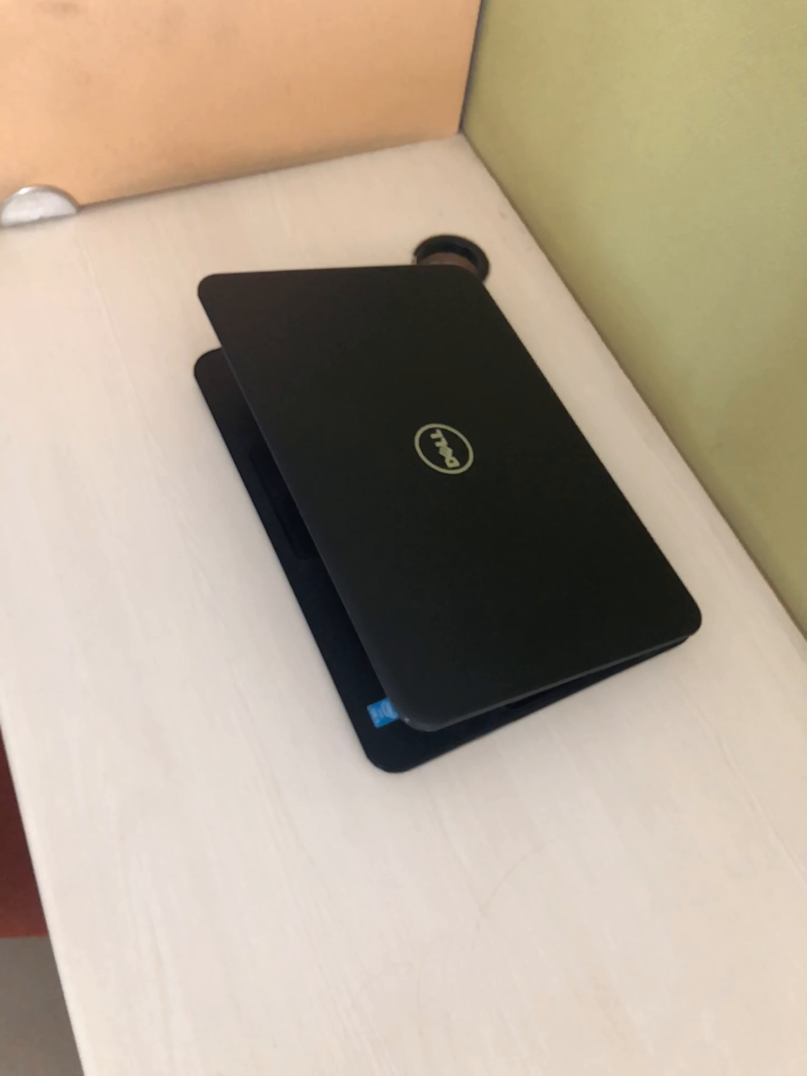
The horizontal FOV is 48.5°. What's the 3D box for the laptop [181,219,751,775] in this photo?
[{"bbox_3d":[0.026,-0.051,0.636,0.247,0.078,0.354,-20,65,-16],"label":"laptop"}]
